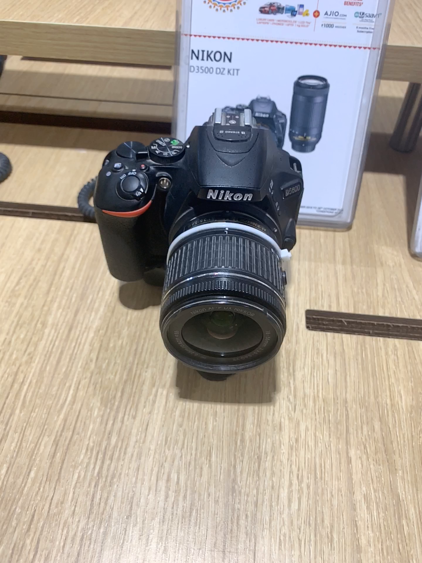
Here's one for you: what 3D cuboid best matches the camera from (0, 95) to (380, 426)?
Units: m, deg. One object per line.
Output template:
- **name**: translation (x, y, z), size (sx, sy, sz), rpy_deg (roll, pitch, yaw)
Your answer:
- **camera**: translation (-0.007, -0.012, 0.219), size (0.130, 0.100, 0.120), rpy_deg (4, 48, 3)
